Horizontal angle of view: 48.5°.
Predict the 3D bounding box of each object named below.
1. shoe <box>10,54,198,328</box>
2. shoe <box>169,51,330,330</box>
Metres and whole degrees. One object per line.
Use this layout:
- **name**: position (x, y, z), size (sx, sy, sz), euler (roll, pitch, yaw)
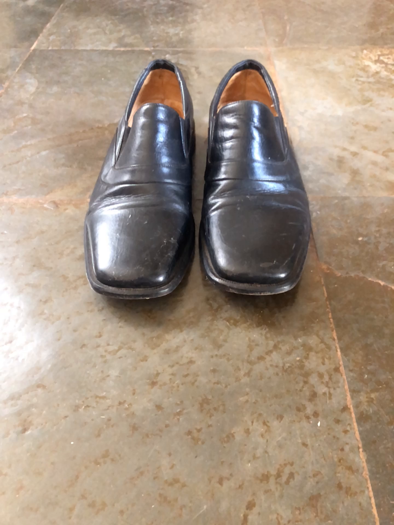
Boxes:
- **shoe**: position (-0.059, -0.087, 0.417), size (0.110, 0.109, 0.282), euler (1, 46, 2)
- **shoe**: position (0.040, -0.086, 0.410), size (0.100, 0.109, 0.282), euler (1, 46, 3)
